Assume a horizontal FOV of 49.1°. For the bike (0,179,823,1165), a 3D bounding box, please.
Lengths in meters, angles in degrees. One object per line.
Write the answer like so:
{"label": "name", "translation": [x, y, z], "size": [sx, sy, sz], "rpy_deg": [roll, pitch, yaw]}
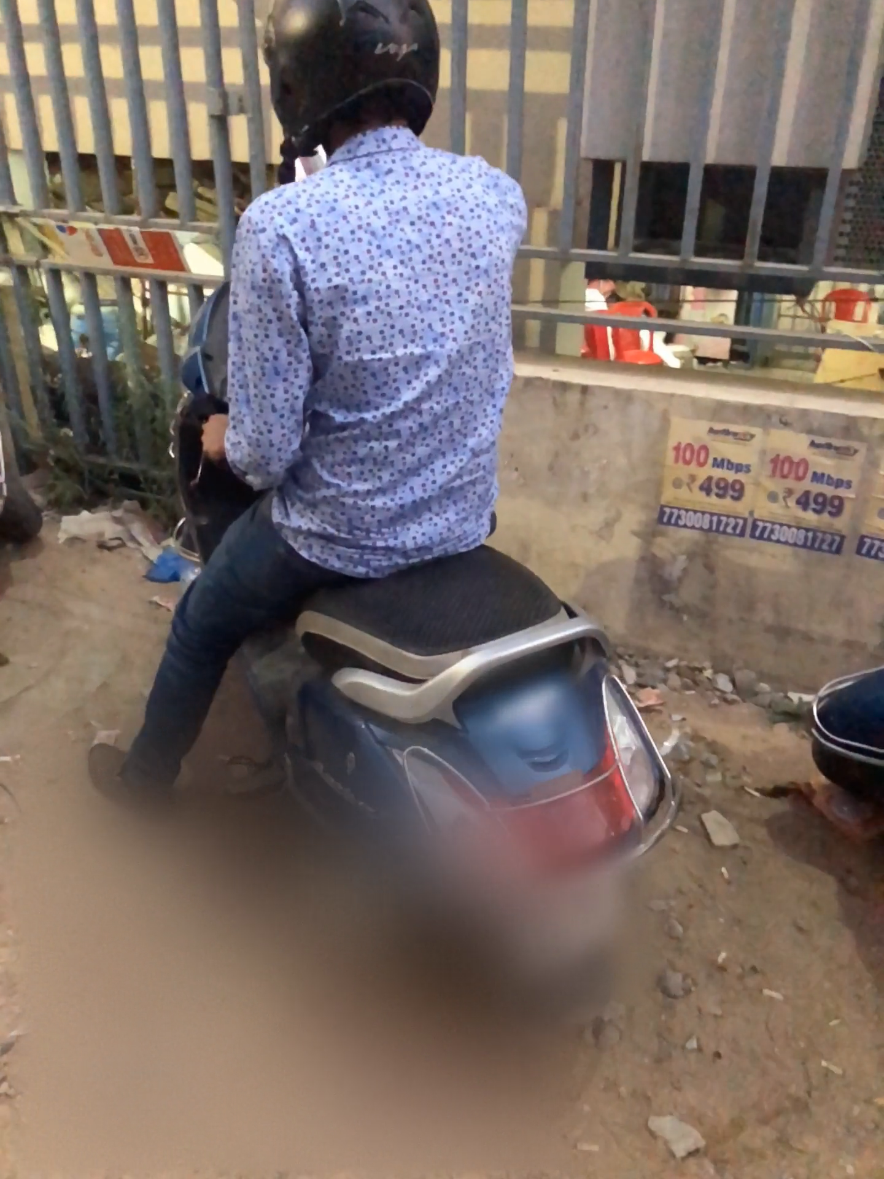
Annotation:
{"label": "bike", "translation": [-0.217, -0.034, 1.855], "size": [0.617, 1.130, 1.474], "rpy_deg": [-17, 36, -32]}
